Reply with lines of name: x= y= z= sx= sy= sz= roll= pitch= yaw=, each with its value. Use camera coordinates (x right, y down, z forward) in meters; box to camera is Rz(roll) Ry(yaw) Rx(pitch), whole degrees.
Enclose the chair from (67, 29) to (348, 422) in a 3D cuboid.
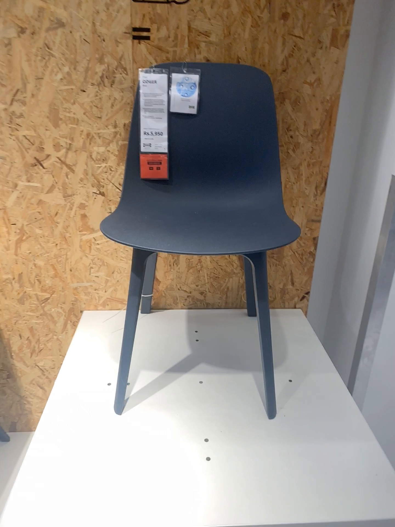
chair: x=0.010 y=-0.099 z=0.995 sx=0.430 sy=0.767 sz=0.502 roll=2 pitch=23 yaw=0
